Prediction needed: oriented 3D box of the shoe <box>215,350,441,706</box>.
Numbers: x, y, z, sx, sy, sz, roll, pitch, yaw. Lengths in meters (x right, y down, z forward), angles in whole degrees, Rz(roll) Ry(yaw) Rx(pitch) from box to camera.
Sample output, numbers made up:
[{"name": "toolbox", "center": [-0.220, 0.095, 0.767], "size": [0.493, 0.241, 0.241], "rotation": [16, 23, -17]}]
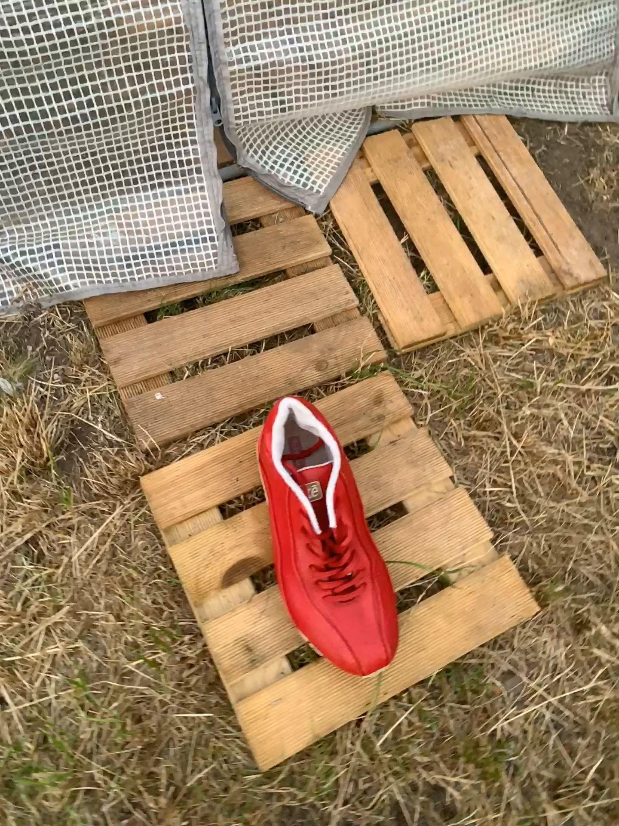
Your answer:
[{"name": "shoe", "center": [0.003, 0.101, 0.585], "size": [0.100, 0.129, 0.282], "rotation": [-16, 62, -11]}]
